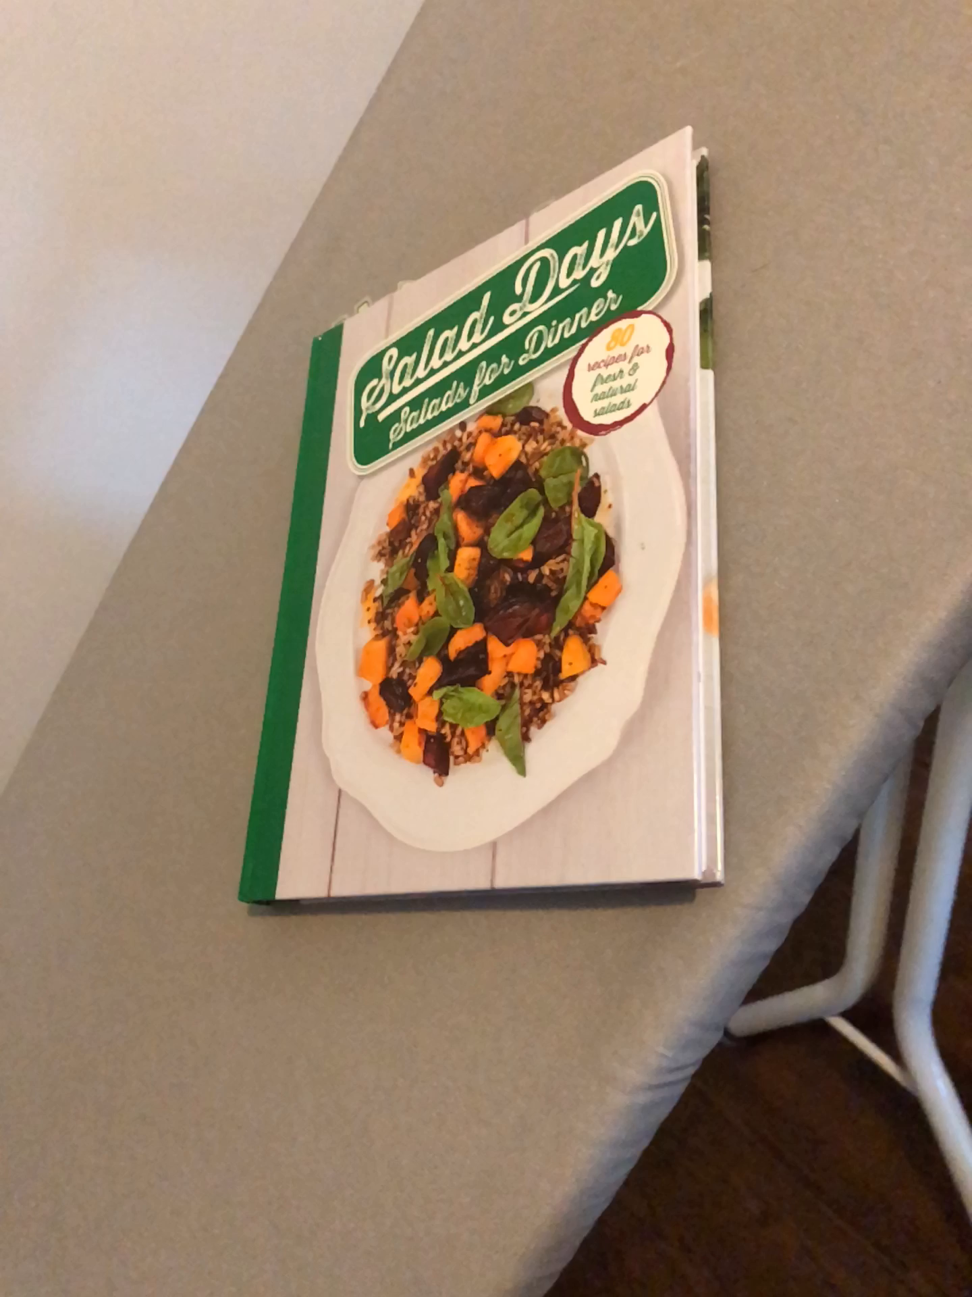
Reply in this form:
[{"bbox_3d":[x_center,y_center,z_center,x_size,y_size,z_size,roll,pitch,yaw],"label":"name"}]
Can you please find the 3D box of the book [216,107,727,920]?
[{"bbox_3d":[-0.010,-0.041,0.411,0.214,0.020,0.275,-13,64,40],"label":"book"}]
